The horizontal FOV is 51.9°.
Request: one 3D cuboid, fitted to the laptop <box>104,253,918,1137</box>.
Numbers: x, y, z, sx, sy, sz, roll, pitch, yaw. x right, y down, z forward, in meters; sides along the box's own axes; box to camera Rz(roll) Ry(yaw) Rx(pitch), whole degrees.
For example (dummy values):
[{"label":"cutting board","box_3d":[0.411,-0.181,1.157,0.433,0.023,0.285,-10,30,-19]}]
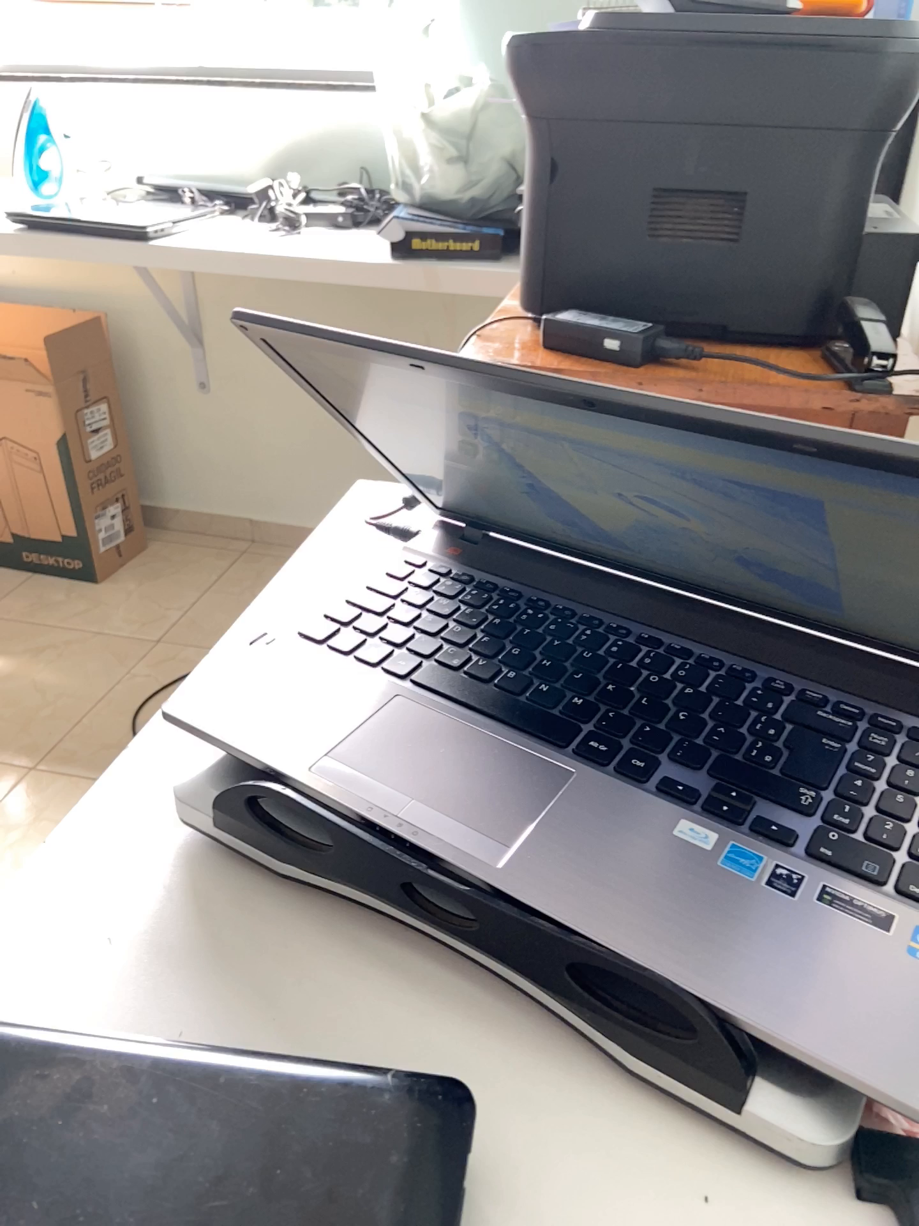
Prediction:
[{"label":"laptop","box_3d":[0.070,-0.022,0.411,0.359,0.164,0.231,20,38,28]}]
